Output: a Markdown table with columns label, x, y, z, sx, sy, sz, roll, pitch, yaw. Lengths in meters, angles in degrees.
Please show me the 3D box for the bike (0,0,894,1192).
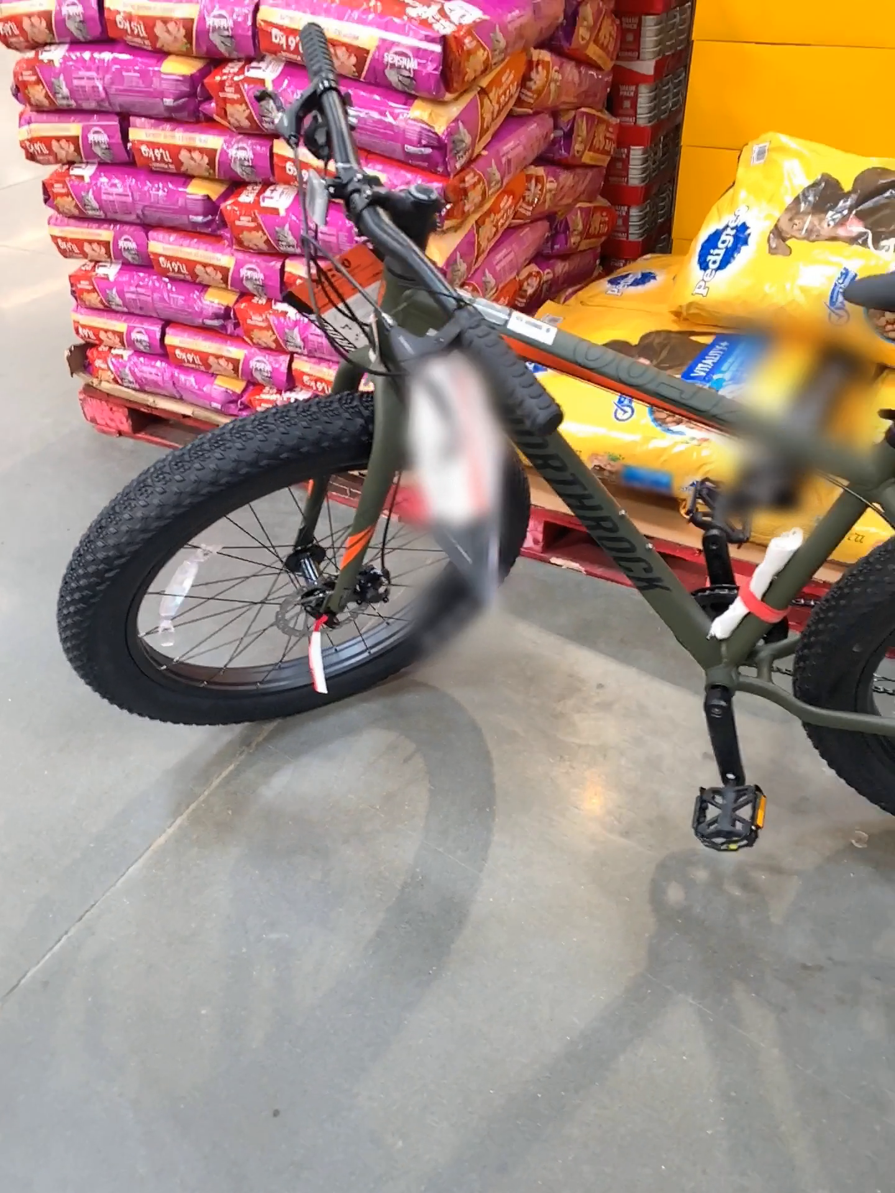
| label | x | y | z | sx | sy | sz | roll | pitch | yaw |
| --- | --- | --- | --- | --- | --- | --- | --- | --- | --- |
| bike | 0.331 | 0.049 | 0.822 | 1.712 | 1.203 | 0.595 | 3 | 38 | -5 |
